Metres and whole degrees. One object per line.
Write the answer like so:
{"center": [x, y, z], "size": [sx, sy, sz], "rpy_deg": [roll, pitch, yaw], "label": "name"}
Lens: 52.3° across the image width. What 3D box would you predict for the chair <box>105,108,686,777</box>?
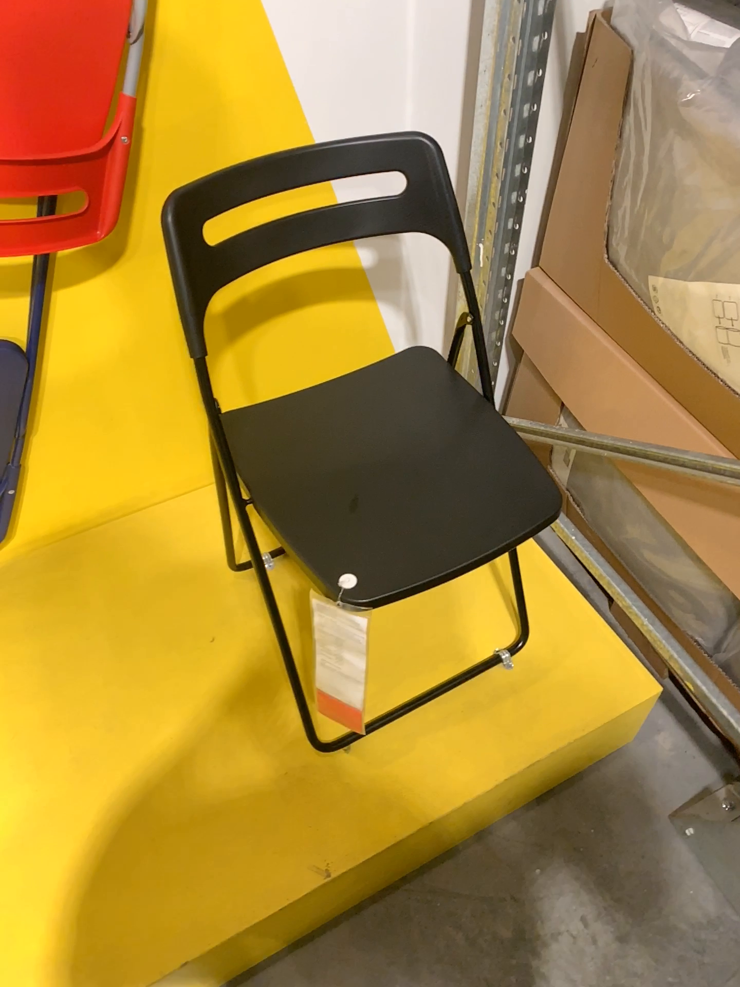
{"center": [0.005, -0.047, 1.038], "size": [0.440, 0.698, 0.441], "rpy_deg": [-22, 51, -19], "label": "chair"}
